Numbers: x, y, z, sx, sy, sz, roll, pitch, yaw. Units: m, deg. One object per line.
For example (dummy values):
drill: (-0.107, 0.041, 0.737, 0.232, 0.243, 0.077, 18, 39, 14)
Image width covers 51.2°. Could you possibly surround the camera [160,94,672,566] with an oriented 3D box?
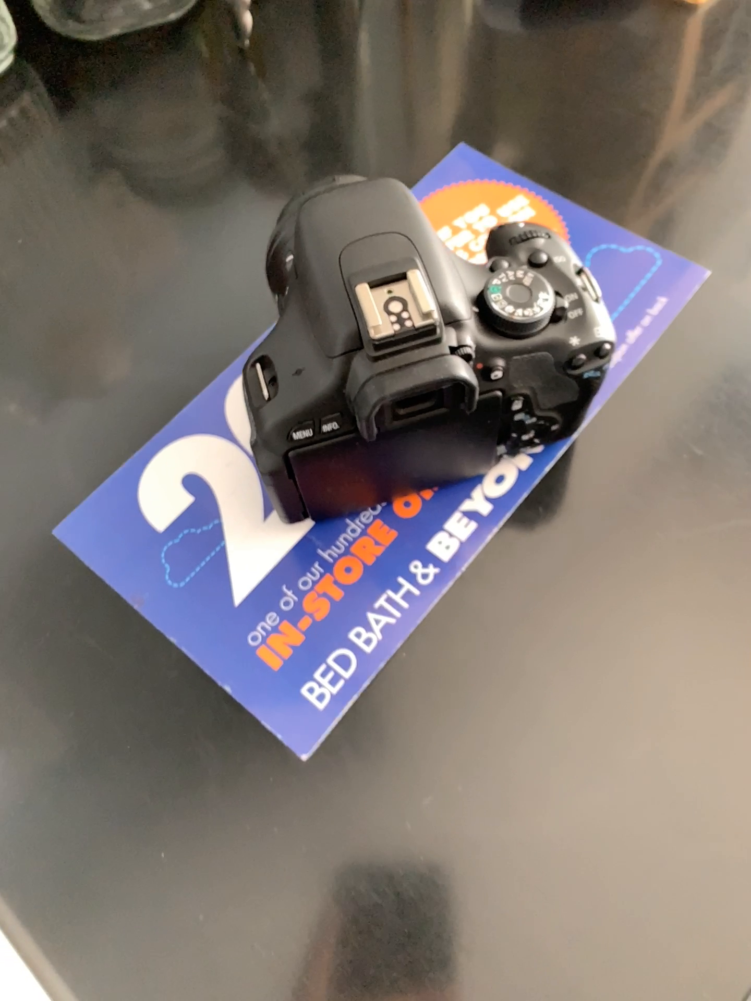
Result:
camera: (0.009, -0.057, 0.281, 0.133, 0.089, 0.103, -16, 64, -3)
